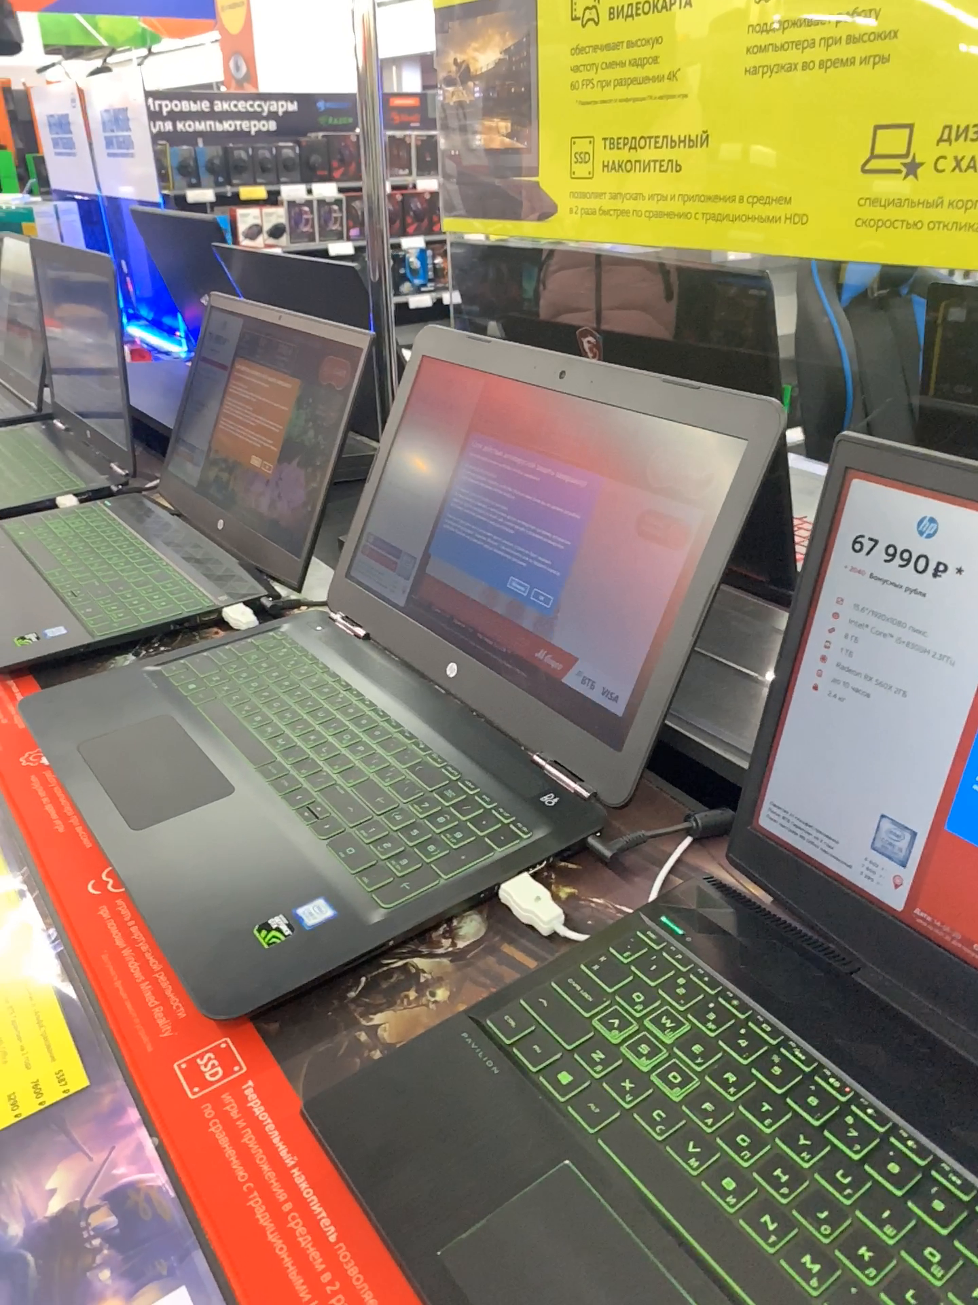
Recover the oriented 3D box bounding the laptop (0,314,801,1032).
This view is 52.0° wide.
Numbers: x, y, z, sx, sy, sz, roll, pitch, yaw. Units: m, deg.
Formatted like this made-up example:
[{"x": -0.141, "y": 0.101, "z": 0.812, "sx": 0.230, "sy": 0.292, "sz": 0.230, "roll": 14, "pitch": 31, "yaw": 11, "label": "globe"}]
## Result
[{"x": -0.089, "y": -0.054, "z": 0.649, "sx": 0.379, "sy": 0.223, "sz": 0.386, "roll": -20, "pitch": 32, "yaw": -30, "label": "laptop"}]
